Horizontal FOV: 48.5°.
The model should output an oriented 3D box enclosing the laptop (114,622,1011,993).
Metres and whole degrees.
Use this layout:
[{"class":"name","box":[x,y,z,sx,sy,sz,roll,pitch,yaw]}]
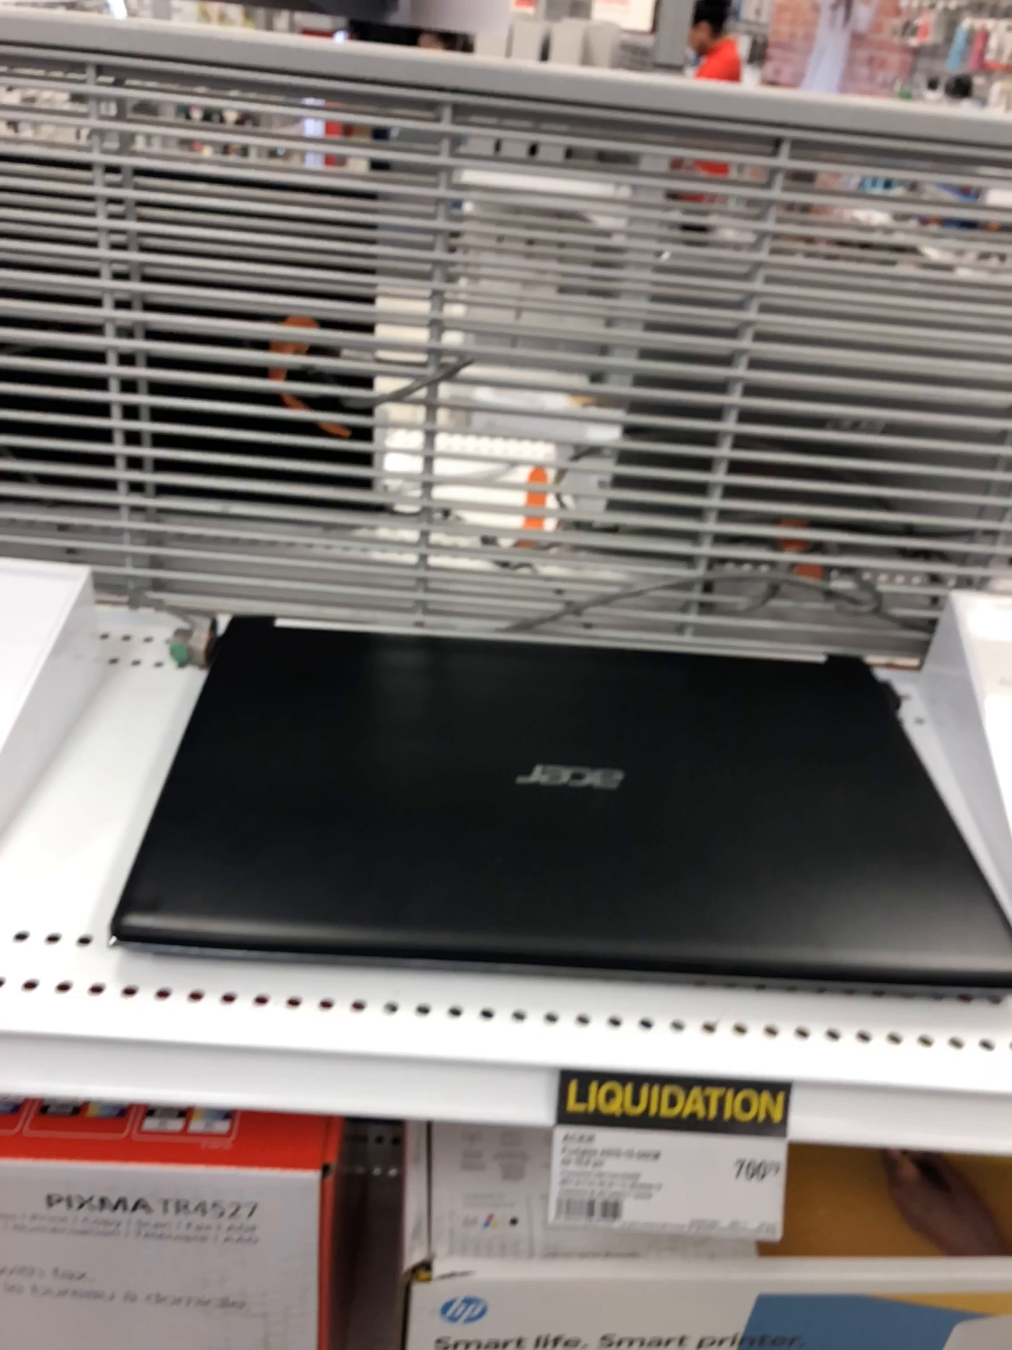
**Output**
[{"class":"laptop","box":[0.030,0.051,0.539,0.361,0.012,0.228,4,34,-4]}]
